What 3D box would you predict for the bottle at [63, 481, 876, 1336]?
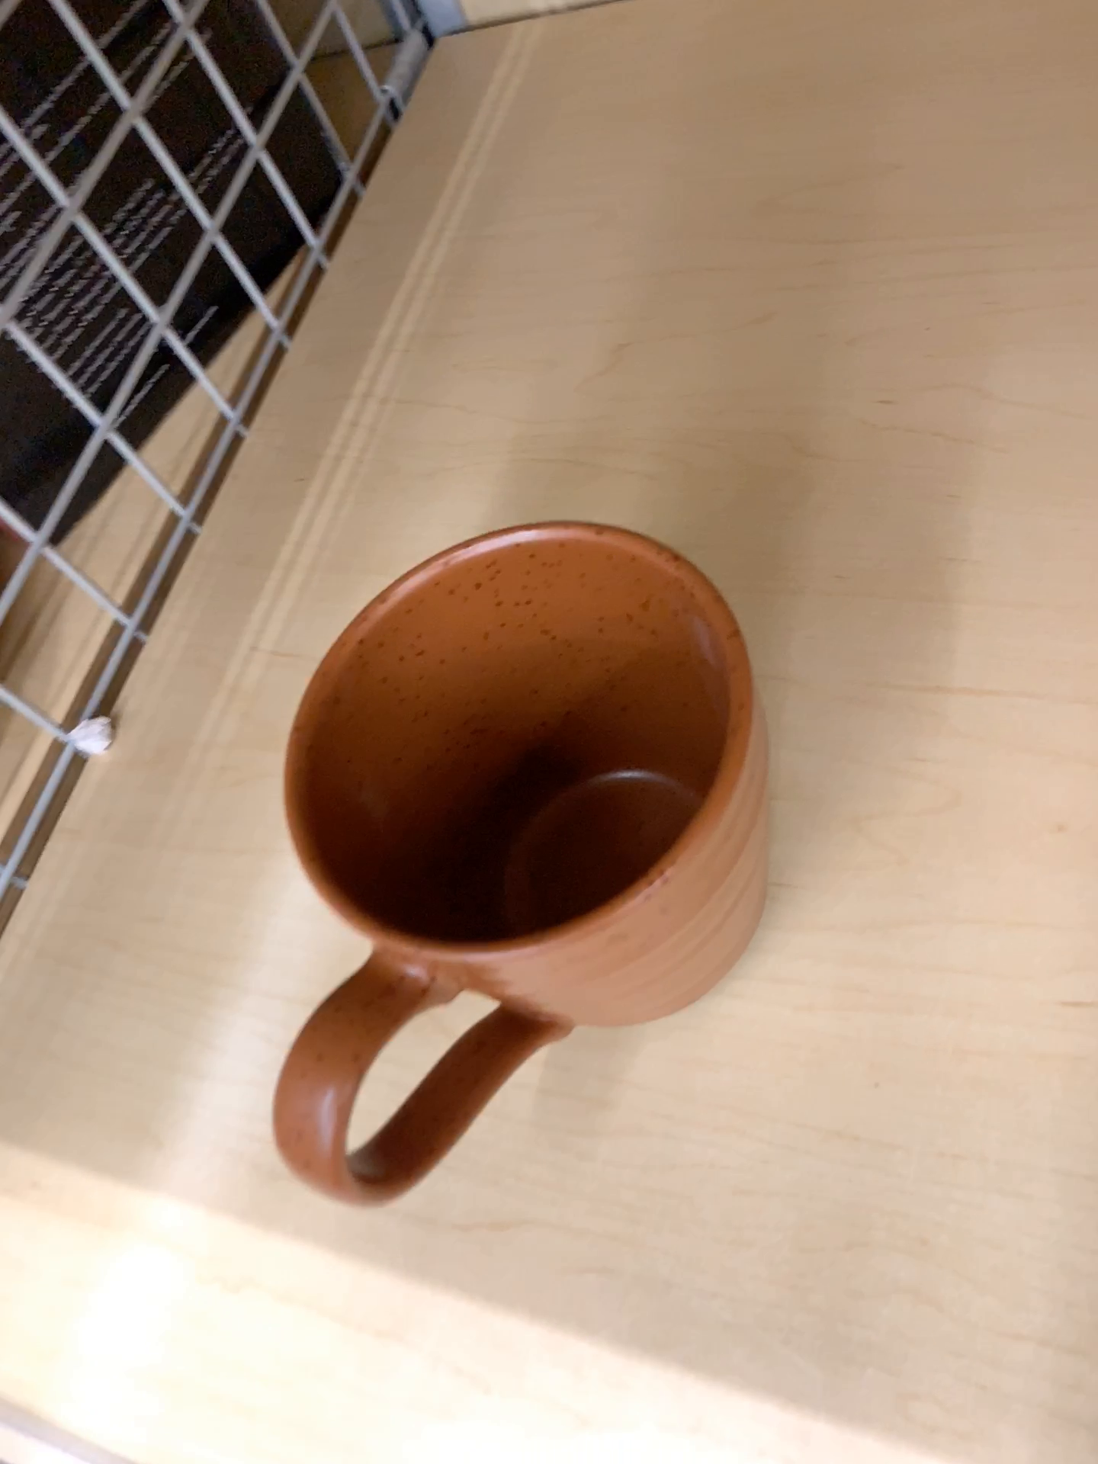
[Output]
[{"bbox_3d":[-0.006,0.035,0.251,0.100,0.090,0.140,18,69,30],"label":"bottle"}]
